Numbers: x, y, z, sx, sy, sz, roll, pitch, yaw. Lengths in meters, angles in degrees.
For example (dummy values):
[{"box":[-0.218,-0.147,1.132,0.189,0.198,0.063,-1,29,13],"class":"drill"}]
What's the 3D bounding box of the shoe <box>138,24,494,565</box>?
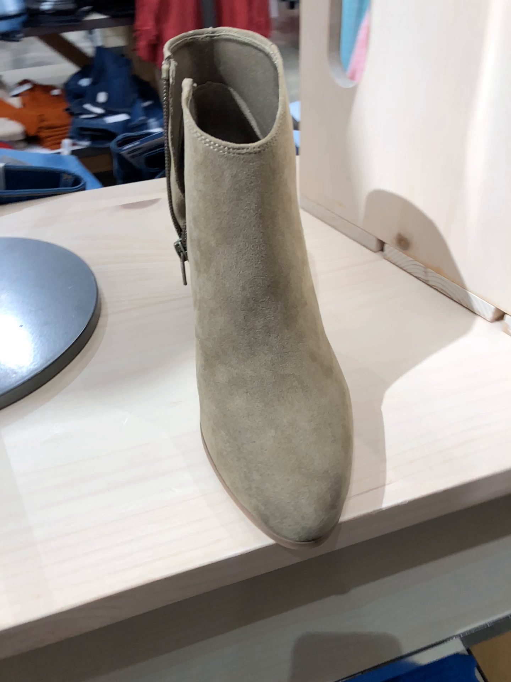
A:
[{"box":[0.003,-0.043,0.294,0.090,0.169,0.231,-9,40,-8],"class":"shoe"}]
